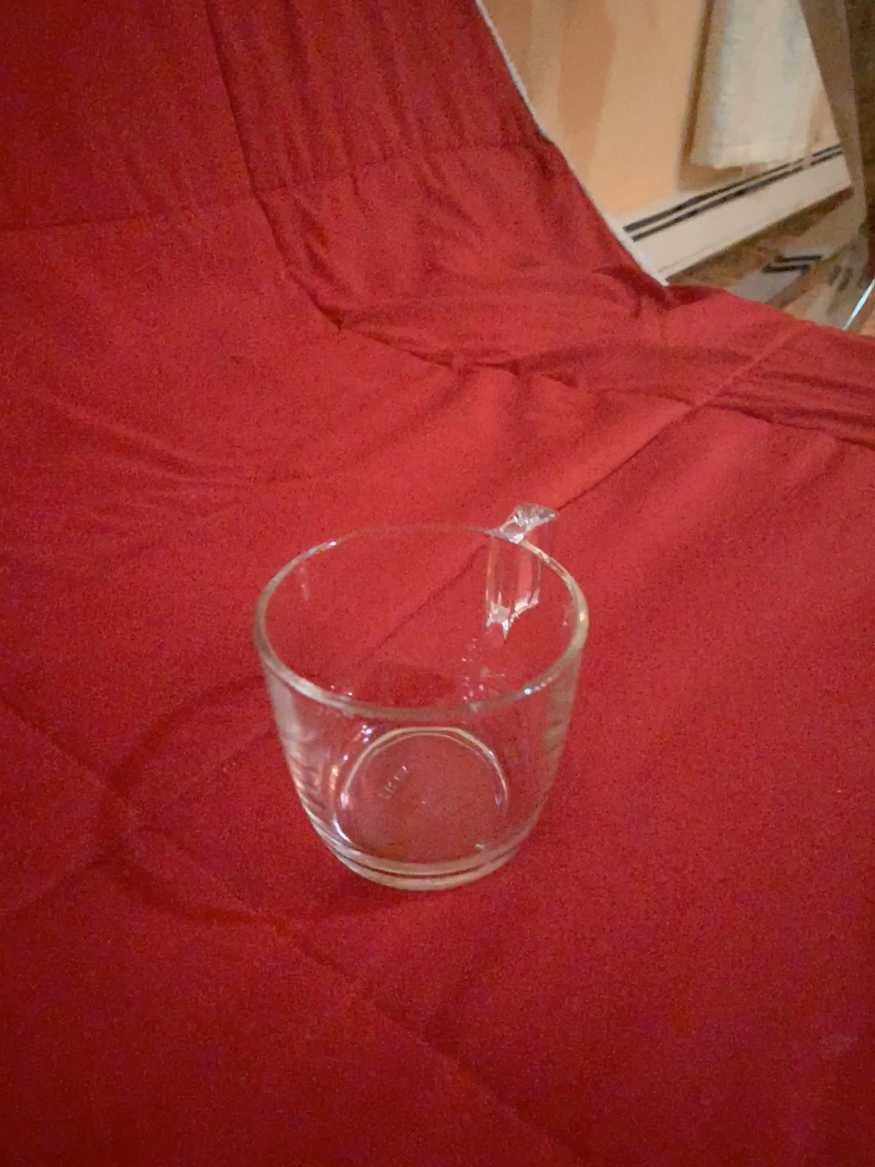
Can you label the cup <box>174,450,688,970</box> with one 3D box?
[{"bbox_3d":[0.003,0.025,0.263,0.089,0.069,0.117,22,40,27],"label":"cup"}]
